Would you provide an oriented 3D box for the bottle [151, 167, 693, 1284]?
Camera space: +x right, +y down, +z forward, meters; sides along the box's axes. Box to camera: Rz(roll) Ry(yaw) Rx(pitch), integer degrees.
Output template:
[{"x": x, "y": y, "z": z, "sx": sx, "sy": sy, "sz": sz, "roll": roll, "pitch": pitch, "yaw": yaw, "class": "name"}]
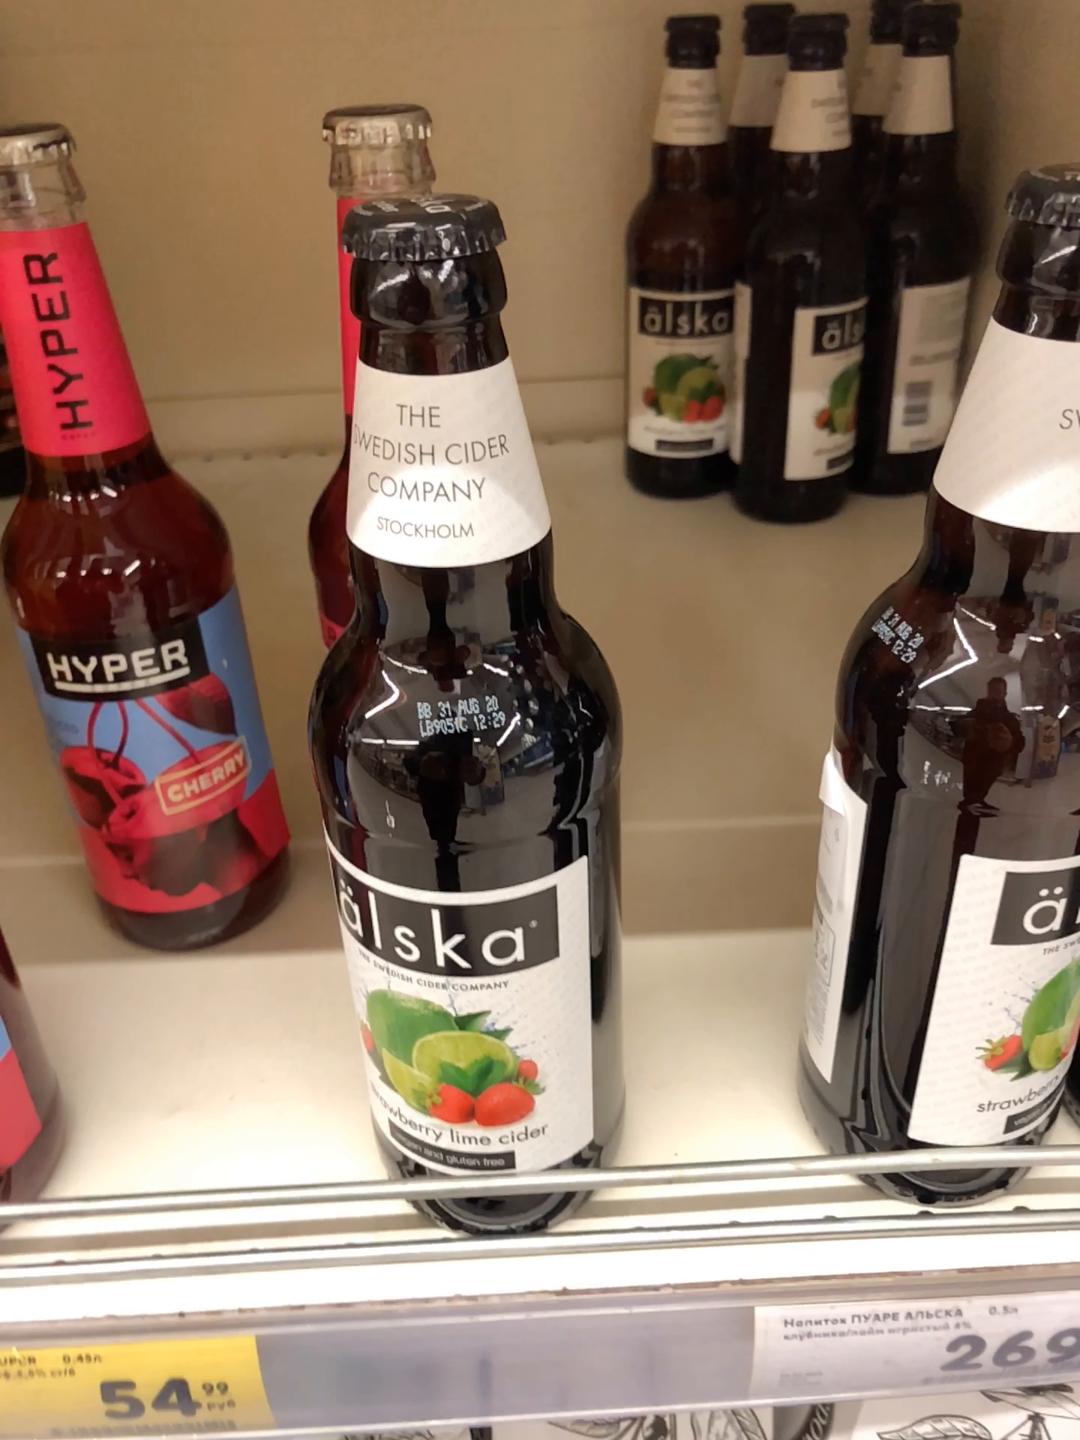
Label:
[{"x": -0.010, "y": 0.013, "z": 0.266, "sx": 0.070, "sy": 0.239, "sz": 0.070, "roll": -2, "pitch": 32, "yaw": 1, "class": "bottle"}]
